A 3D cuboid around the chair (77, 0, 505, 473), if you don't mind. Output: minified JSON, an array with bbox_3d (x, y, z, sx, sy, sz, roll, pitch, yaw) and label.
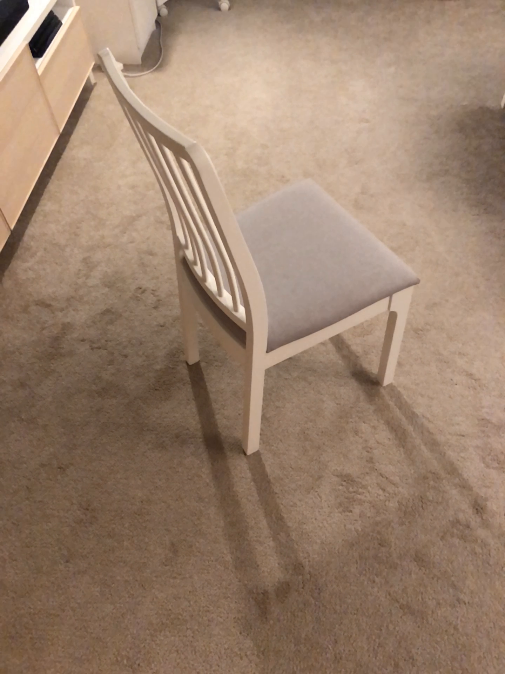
[{"bbox_3d":[0.066,-0.208,1.278,0.551,0.905,0.502,-25,55,-15],"label":"chair"}]
